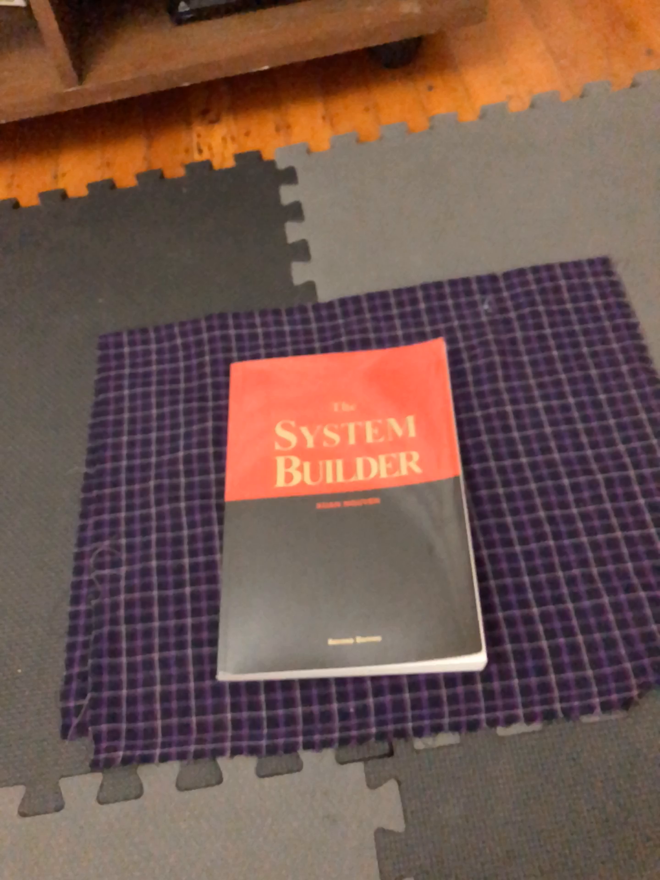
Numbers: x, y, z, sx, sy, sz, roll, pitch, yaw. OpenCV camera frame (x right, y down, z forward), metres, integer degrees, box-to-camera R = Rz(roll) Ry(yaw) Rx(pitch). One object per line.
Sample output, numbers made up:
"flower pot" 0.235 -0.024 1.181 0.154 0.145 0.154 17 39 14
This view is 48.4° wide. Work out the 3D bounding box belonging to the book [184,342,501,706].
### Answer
"book" 0.003 0.051 0.540 0.200 0.030 0.261 -5 60 5
